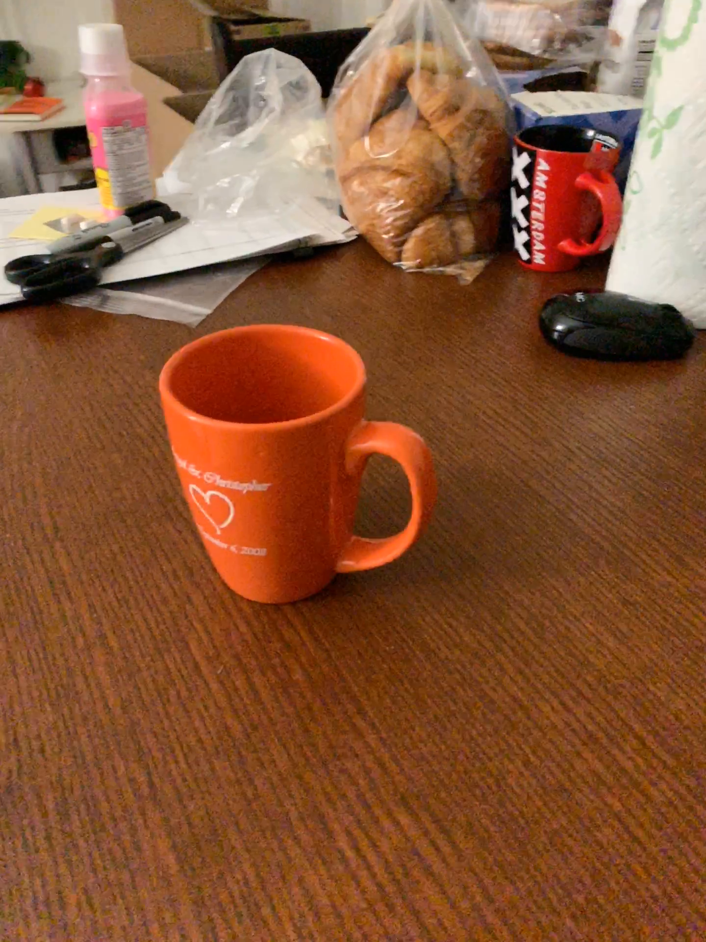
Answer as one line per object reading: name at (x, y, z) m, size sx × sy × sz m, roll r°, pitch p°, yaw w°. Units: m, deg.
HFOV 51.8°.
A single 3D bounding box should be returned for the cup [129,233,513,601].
cup at (-0.008, -0.030, 0.334) m, size 0.130 × 0.109 × 0.100 m, roll 13°, pitch 40°, yaw 16°
